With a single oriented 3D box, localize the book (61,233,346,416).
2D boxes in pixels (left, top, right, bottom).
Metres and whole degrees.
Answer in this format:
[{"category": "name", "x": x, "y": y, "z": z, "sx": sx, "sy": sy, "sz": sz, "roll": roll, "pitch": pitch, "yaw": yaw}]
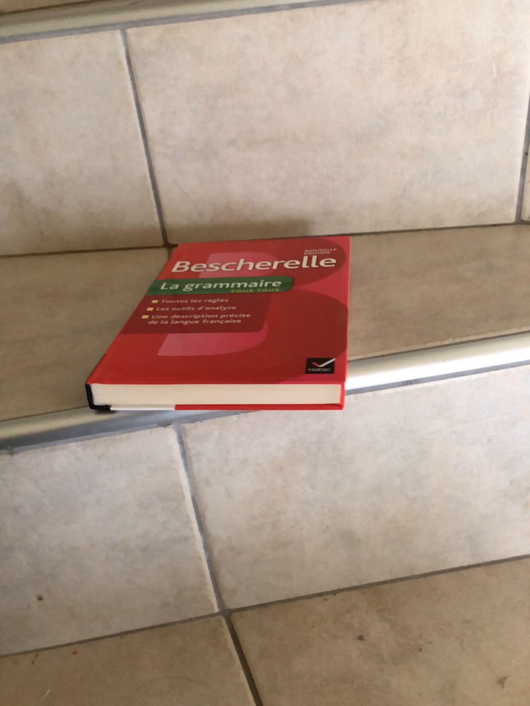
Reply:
[{"category": "book", "x": -0.021, "y": -0.029, "z": 0.383, "sx": 0.142, "sy": 0.020, "sz": 0.202, "roll": -1, "pitch": 32, "yaw": 10}]
